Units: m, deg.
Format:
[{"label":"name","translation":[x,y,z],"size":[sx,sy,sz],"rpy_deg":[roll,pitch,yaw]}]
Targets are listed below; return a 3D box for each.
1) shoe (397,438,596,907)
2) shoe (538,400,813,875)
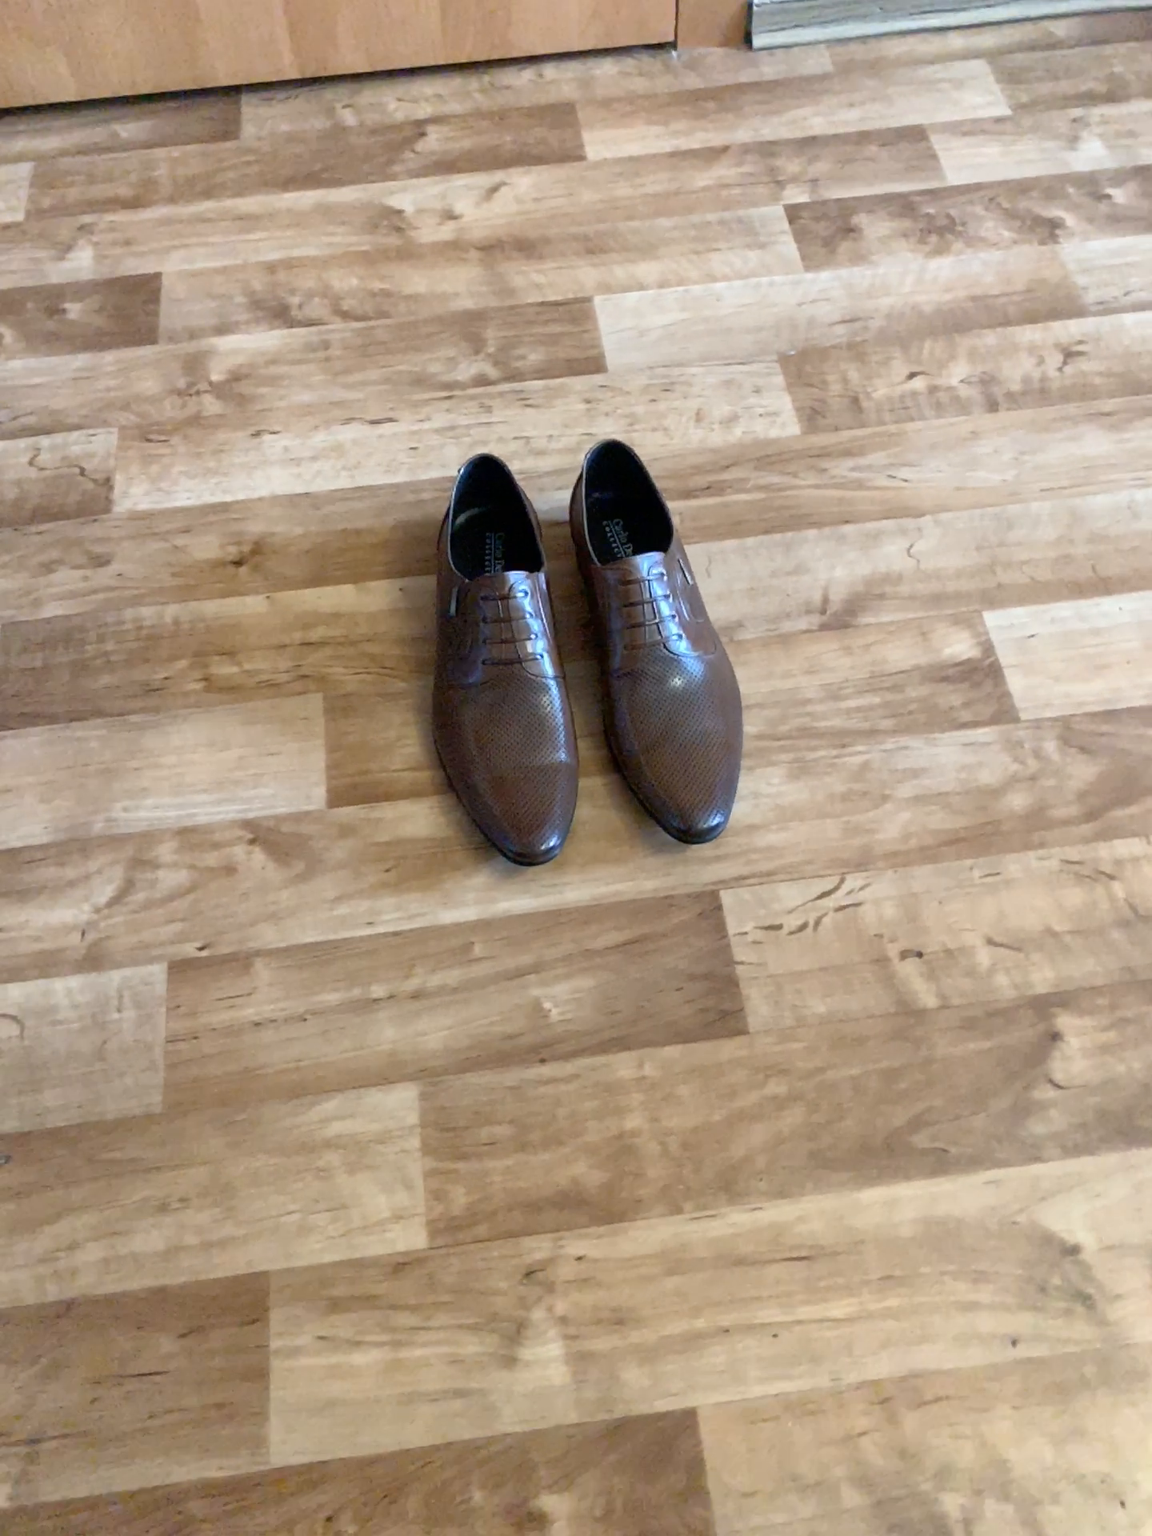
[{"label":"shoe","translation":[-0.057,-0.071,0.820],"size":[0.100,0.120,0.301],"rpy_deg":[-7,61,-2]},{"label":"shoe","translation":[0.058,-0.097,0.807],"size":[0.110,0.100,0.311],"rpy_deg":[-10,61,-4]}]
